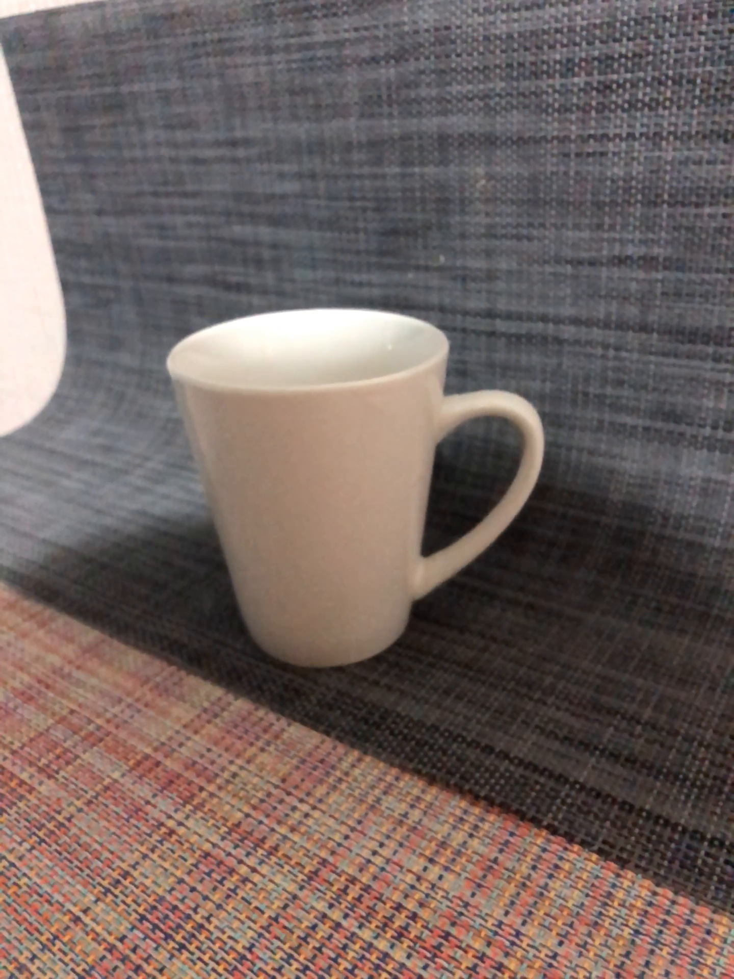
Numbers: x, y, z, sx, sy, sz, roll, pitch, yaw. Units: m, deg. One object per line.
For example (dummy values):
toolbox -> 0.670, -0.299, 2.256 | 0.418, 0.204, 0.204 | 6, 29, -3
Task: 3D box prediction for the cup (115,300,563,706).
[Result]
cup -> -0.003, -0.001, 0.268 | 0.111, 0.096, 0.097 | -1, 25, 5
